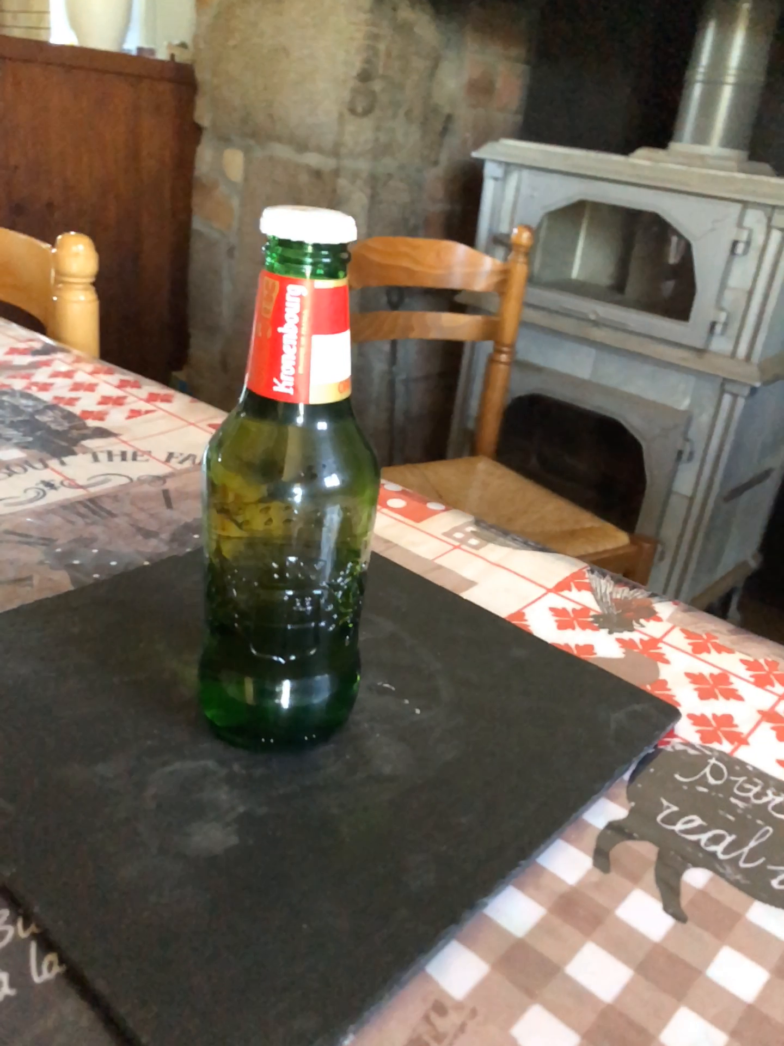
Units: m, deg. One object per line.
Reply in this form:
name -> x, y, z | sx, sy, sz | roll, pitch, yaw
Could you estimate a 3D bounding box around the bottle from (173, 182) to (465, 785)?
bottle -> -0.028, -0.013, 0.286 | 0.060, 0.179, 0.060 | 6, 24, -3
